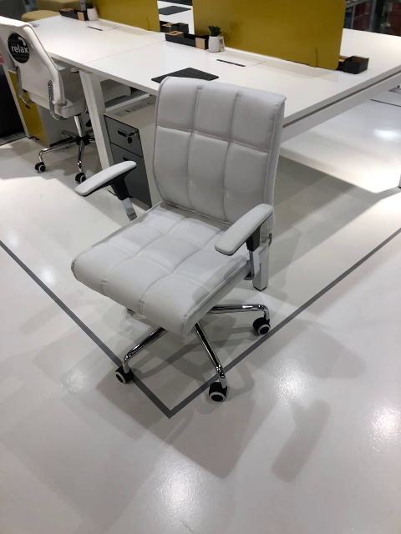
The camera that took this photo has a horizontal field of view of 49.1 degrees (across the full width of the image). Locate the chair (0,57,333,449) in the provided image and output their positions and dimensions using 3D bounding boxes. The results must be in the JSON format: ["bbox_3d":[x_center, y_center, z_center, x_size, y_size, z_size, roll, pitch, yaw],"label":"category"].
[{"bbox_3d":[-0.074,-0.080,1.484,0.662,0.923,0.723,23,48,30],"label":"chair"}]
